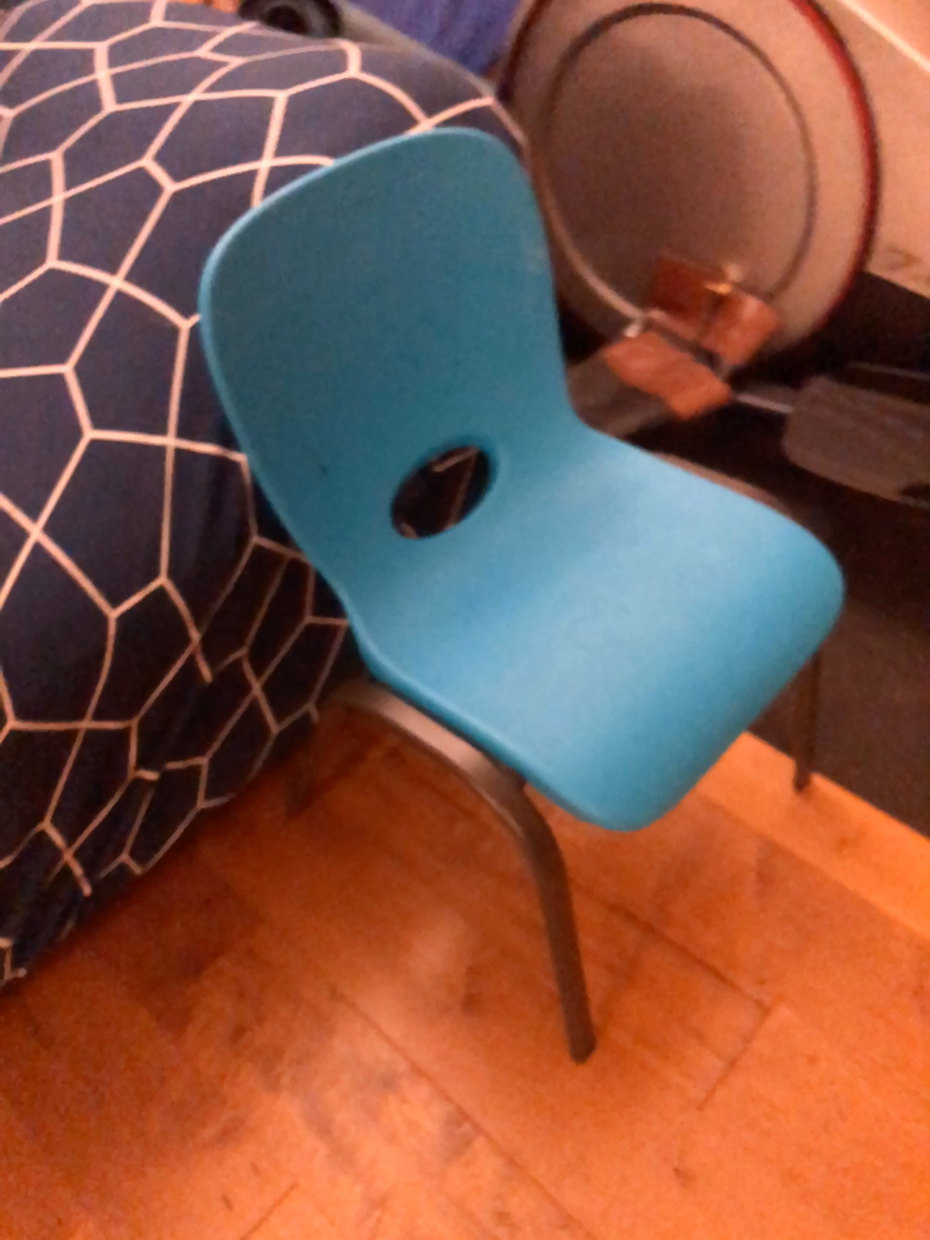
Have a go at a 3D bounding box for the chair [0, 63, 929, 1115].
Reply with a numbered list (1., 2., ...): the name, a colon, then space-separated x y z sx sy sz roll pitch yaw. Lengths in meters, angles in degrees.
1. chair: 0.050 -0.033 0.772 0.402 0.527 0.431 29 55 30
